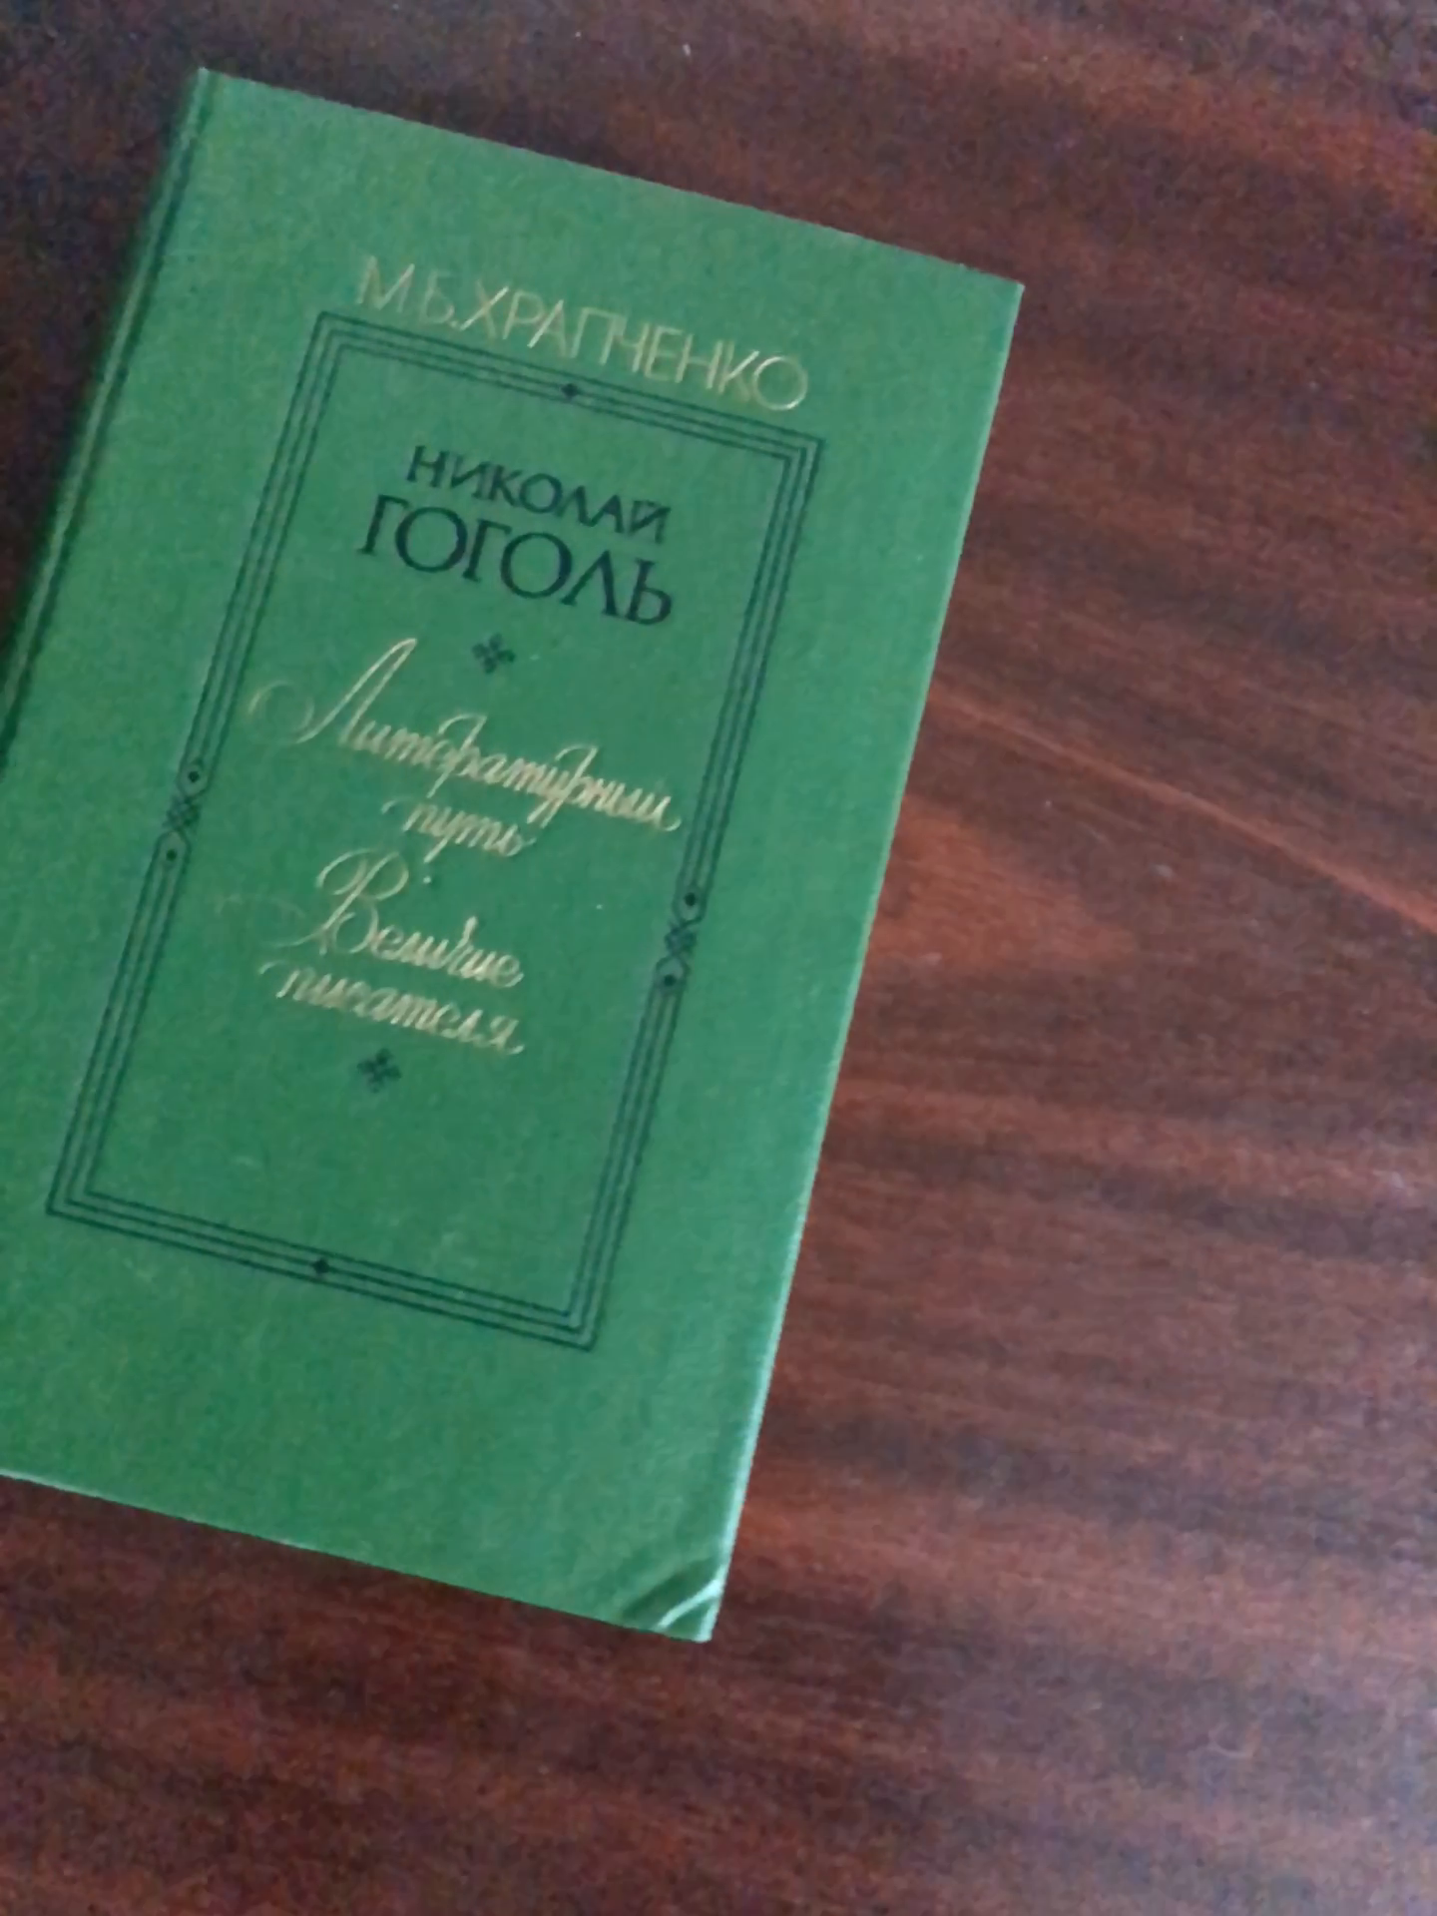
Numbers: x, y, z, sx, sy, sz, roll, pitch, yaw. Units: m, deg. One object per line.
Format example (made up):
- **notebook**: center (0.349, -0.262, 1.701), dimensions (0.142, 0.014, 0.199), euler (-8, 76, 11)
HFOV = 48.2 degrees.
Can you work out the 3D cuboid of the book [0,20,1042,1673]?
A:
- **book**: center (-0.040, -0.019, 0.244), dimensions (0.129, 0.050, 0.206), euler (14, 81, -1)
